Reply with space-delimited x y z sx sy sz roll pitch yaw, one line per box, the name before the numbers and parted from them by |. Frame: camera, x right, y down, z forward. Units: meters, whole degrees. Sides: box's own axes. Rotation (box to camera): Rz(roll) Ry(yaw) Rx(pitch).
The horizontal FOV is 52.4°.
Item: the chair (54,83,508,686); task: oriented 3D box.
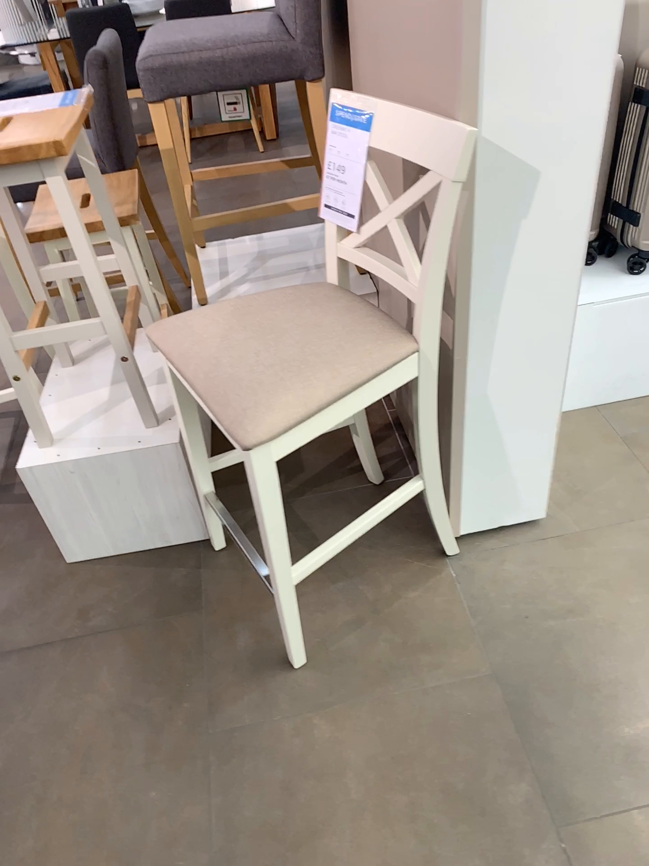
chair | -0.038 -0.073 1.283 0.538 0.938 0.453 -25 42 -20
